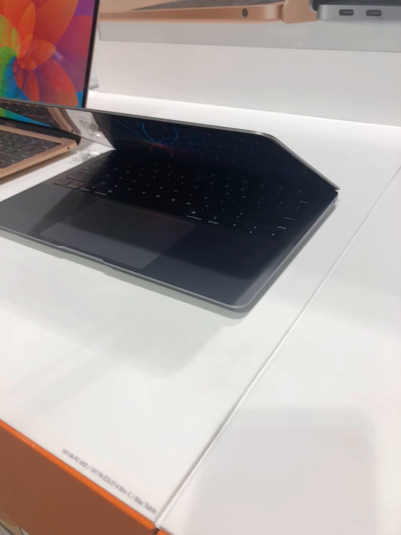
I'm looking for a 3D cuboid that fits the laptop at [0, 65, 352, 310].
[{"bbox_3d":[-0.043,-0.103,0.410,0.289,0.102,0.199,18,39,27],"label":"laptop"}]
